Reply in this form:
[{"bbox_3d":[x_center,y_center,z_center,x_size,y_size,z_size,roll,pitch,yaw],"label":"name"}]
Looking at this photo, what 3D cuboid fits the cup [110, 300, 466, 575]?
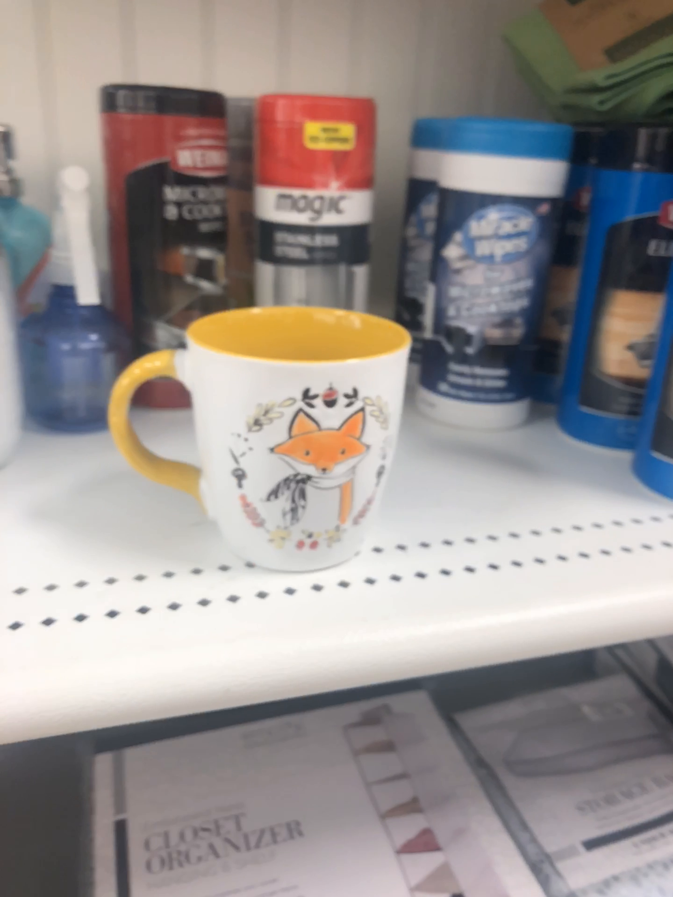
[{"bbox_3d":[-0.024,-0.010,0.345,0.133,0.093,0.099,0,22,-7],"label":"cup"}]
